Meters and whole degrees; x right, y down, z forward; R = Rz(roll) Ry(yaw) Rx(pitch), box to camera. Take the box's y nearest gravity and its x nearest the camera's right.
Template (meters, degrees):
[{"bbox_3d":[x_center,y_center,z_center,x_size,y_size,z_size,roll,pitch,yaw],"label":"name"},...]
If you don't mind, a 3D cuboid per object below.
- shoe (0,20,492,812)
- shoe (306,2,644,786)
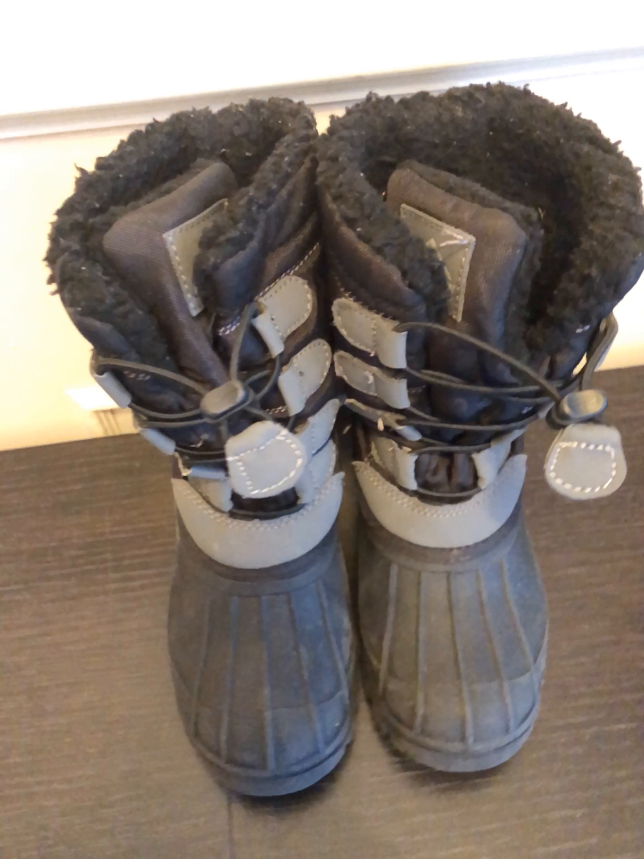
[{"bbox_3d":[-0.026,0.003,0.281,0.100,0.209,0.221,-6,53,-2],"label":"shoe"},{"bbox_3d":[0.059,-0.006,0.285,0.100,0.209,0.221,-6,53,-2],"label":"shoe"}]
